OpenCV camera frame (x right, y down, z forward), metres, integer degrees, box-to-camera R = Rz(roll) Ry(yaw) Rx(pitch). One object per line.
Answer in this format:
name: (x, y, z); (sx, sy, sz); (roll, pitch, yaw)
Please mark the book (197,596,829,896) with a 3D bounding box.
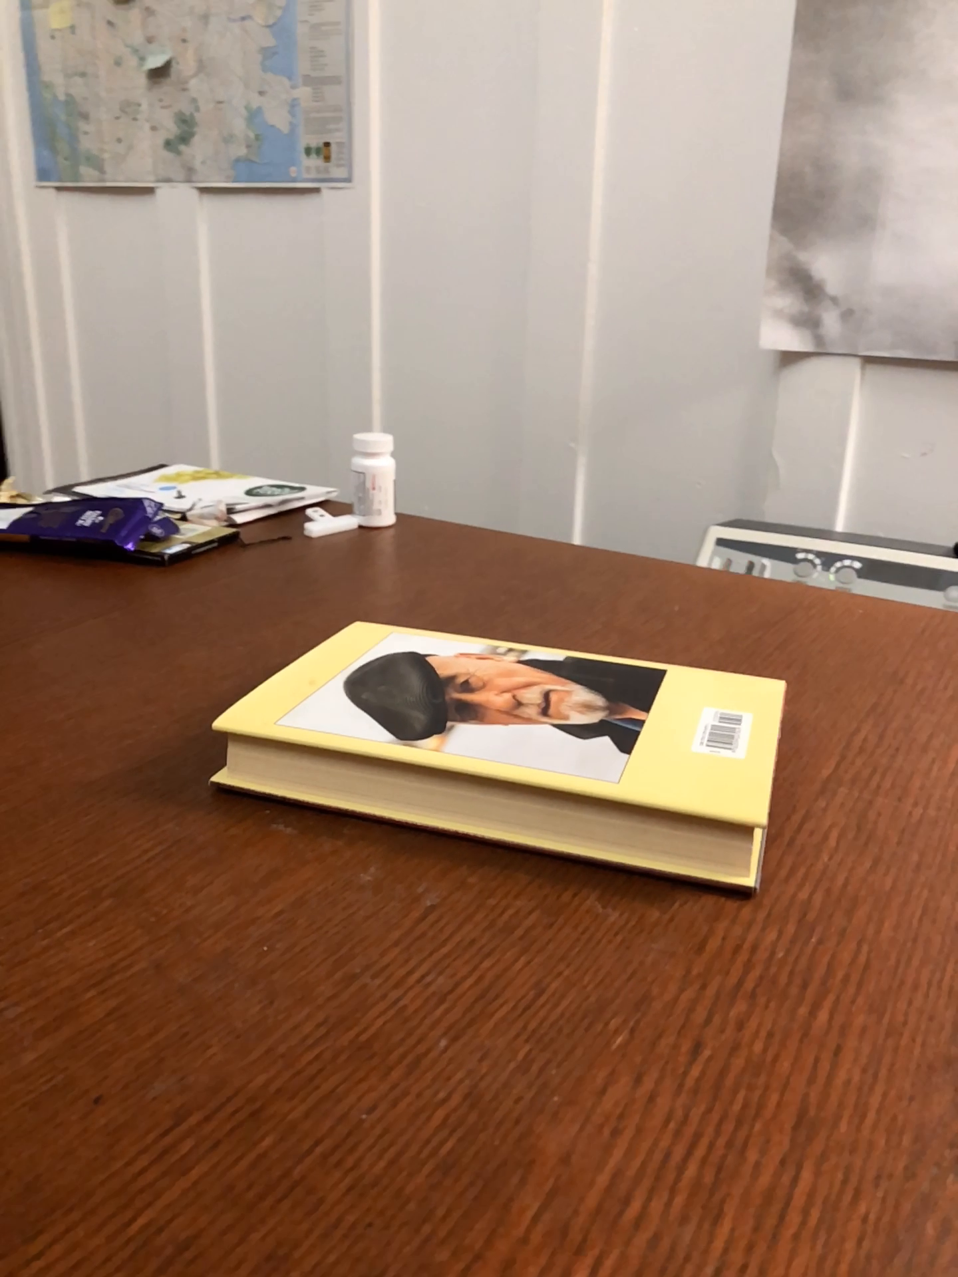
book: (0.030, 0.034, 0.496); (0.250, 0.030, 0.191); (7, 20, 17)
